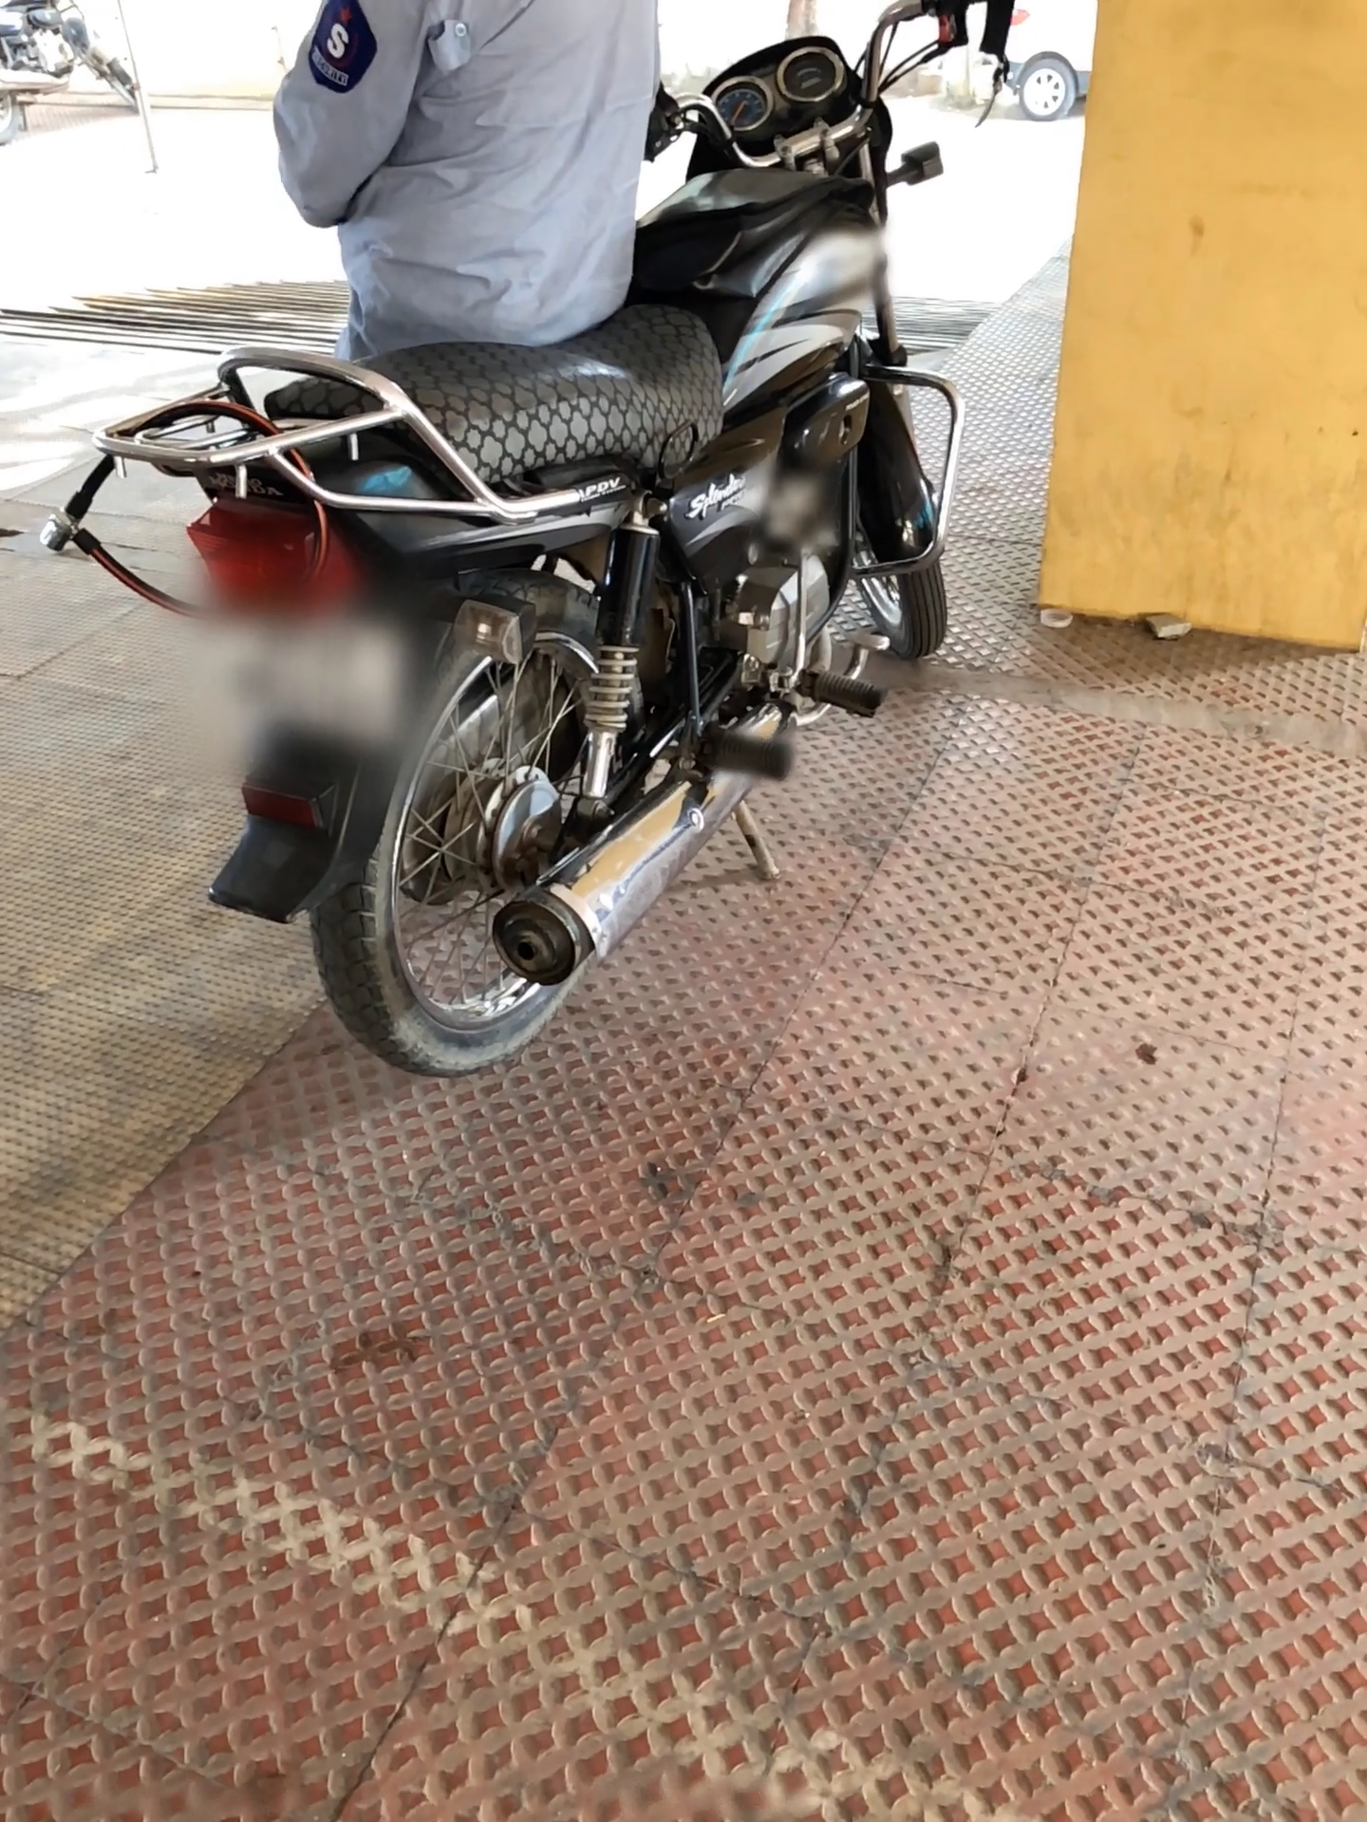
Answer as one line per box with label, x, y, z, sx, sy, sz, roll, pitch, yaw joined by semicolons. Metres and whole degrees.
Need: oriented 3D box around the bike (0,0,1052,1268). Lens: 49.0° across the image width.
bike;-0.057;-0.628;1.990;0.677;1.036;1.687;12;39;20
